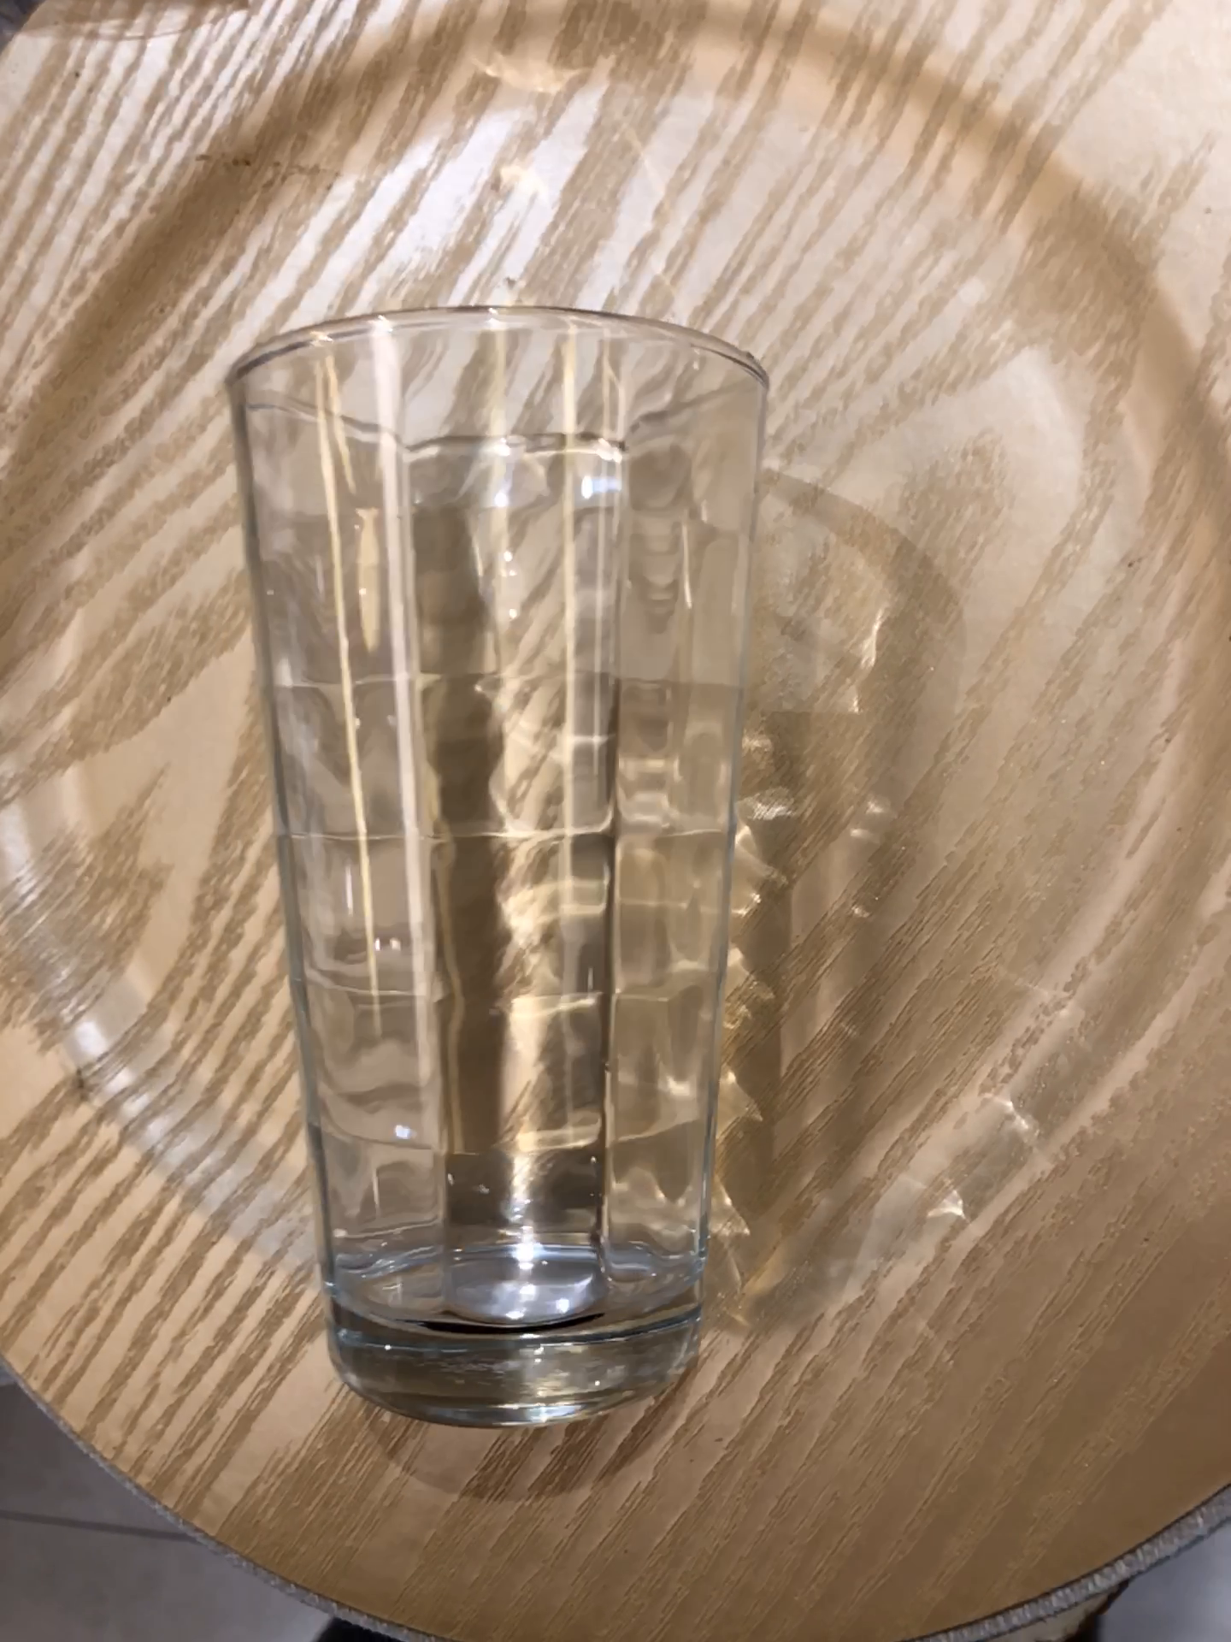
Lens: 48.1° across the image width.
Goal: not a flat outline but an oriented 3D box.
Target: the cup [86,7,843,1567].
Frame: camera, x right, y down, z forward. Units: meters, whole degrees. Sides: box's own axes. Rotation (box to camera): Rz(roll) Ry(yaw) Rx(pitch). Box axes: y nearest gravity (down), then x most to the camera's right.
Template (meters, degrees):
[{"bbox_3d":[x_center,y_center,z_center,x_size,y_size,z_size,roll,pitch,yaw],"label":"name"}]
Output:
[{"bbox_3d":[-0.016,-0.004,0.211,0.090,0.080,0.180,0,90,18],"label":"cup"}]
